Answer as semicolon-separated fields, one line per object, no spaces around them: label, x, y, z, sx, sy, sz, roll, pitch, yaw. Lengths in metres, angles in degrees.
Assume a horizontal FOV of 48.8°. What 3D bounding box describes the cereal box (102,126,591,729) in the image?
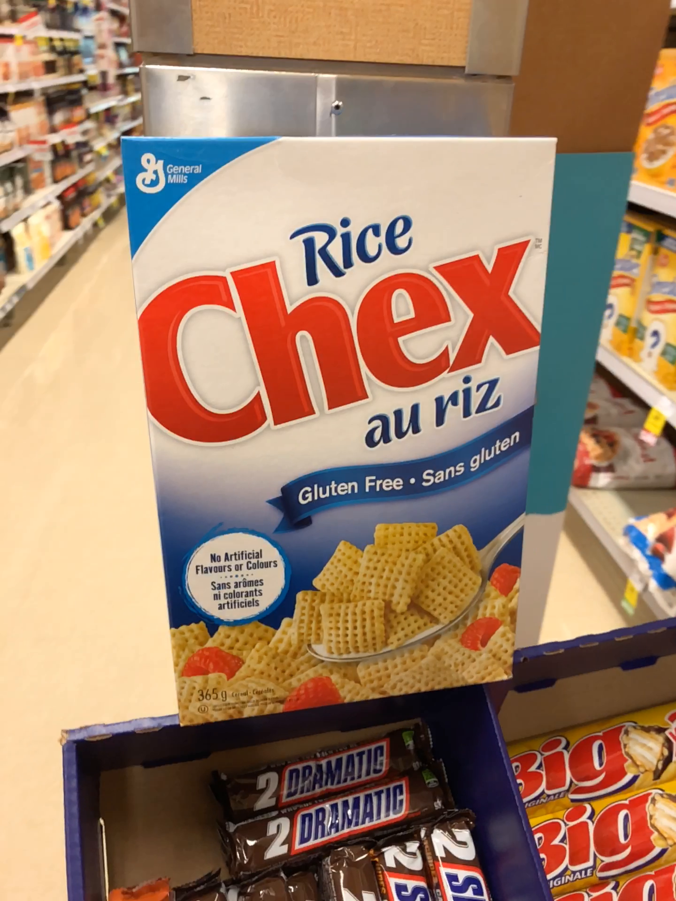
cereal box;0.002;-0.010;0.393;0.210;0.289;0.070;-4;20;-12
